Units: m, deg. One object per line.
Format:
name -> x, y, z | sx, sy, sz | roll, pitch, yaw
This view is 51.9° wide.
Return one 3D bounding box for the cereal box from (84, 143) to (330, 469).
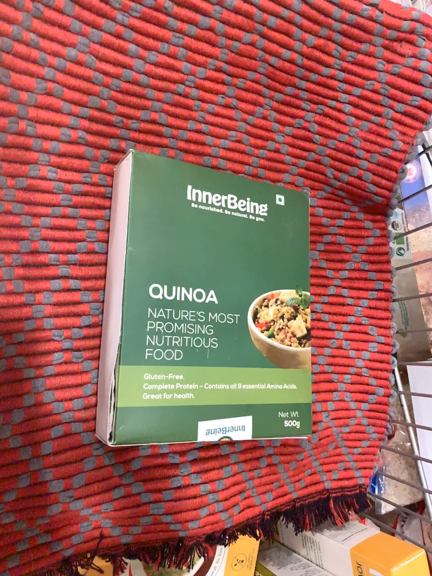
cereal box -> 0.001, 0.015, 0.293 | 0.150, 0.040, 0.180 | 6, 81, -25
